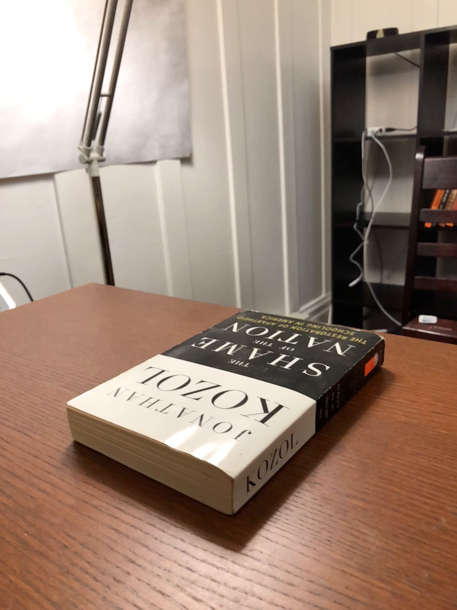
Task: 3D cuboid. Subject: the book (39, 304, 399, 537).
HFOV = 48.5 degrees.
[{"bbox_3d":[0.008,0.057,0.381,0.160,0.030,0.231,10,22,36],"label":"book"}]
